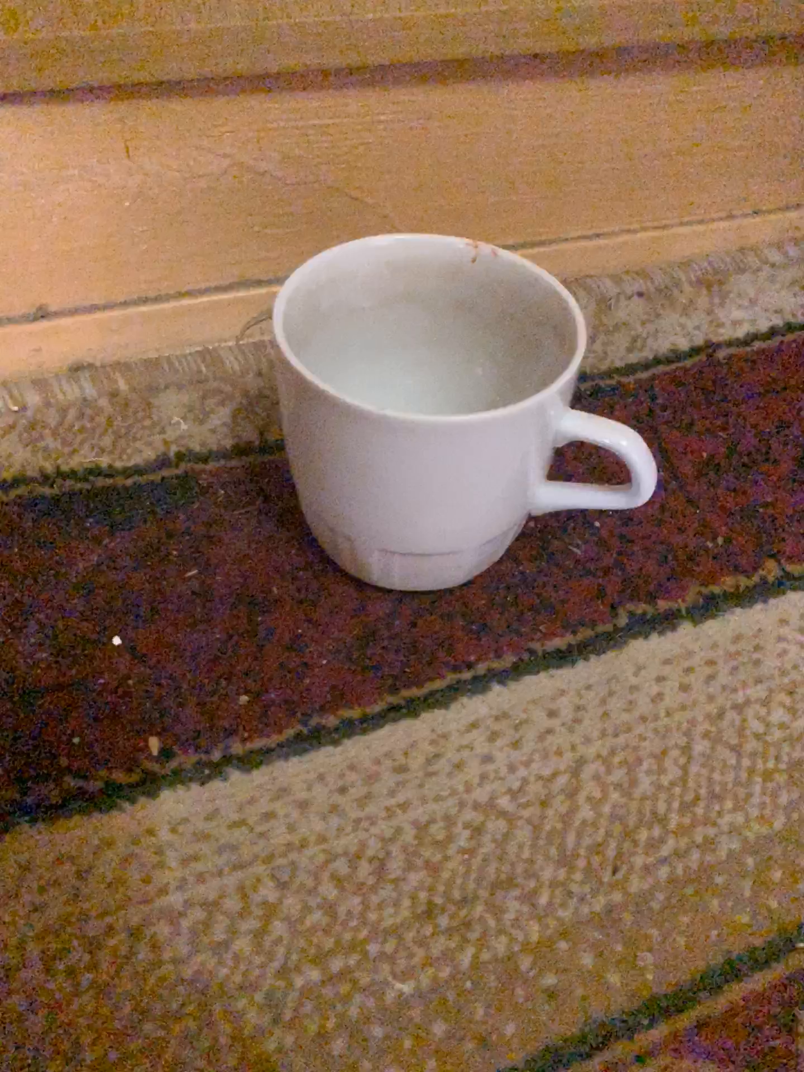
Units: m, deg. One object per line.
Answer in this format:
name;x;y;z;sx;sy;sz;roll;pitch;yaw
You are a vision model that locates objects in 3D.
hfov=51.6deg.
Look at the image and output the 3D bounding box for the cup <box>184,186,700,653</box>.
cup;0.013;-0.037;0.244;0.114;0.075;0.082;18;50;12
